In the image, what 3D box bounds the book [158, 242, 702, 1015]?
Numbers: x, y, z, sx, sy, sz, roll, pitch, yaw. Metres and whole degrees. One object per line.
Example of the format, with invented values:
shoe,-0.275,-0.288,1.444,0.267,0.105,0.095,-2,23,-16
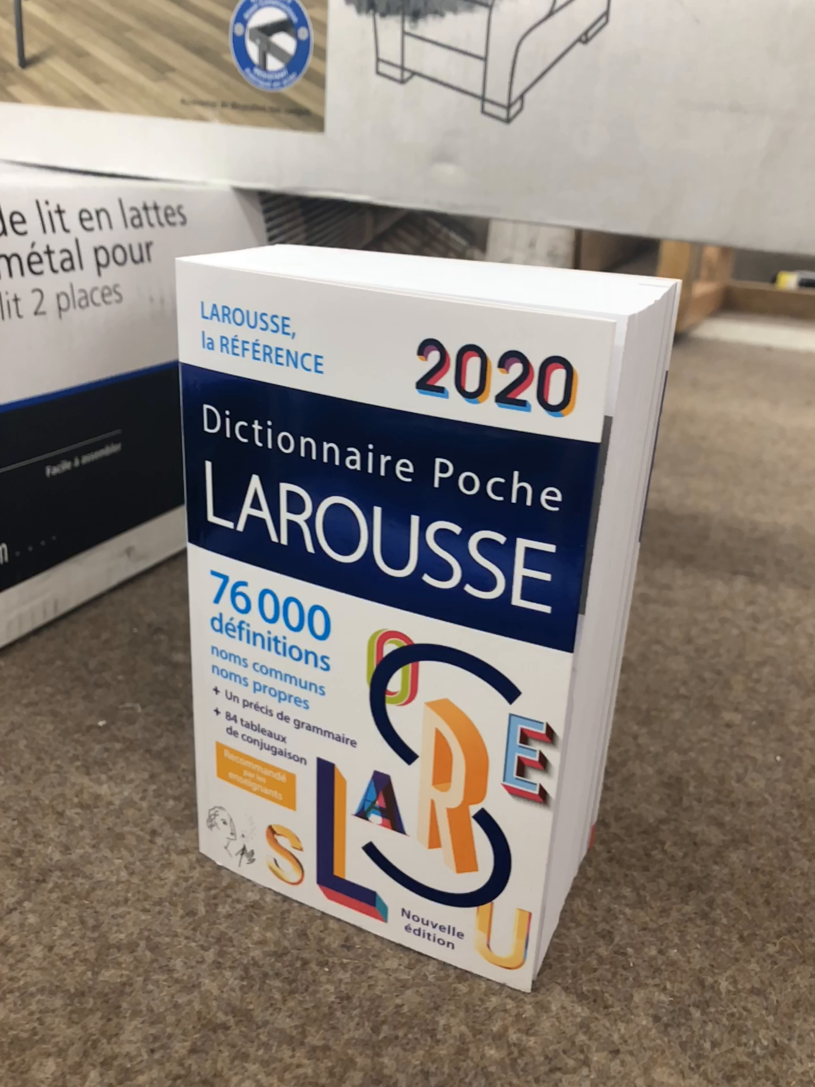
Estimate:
book,0.002,0.017,0.243,0.111,0.173,0.061,13,24,23
